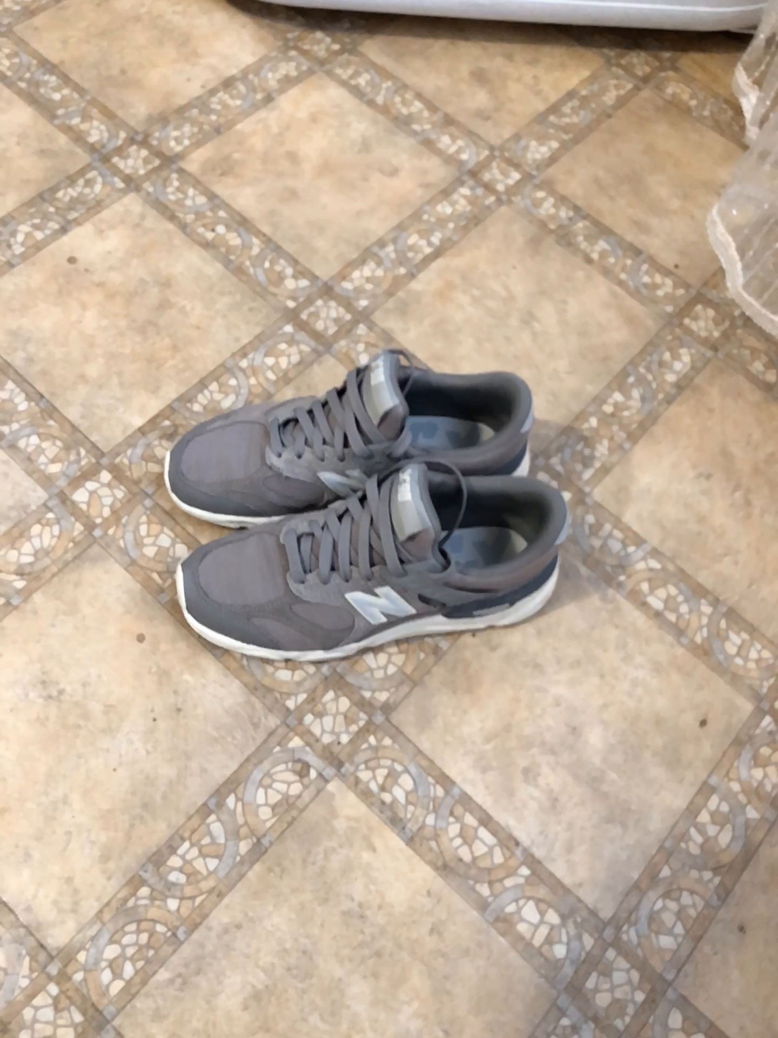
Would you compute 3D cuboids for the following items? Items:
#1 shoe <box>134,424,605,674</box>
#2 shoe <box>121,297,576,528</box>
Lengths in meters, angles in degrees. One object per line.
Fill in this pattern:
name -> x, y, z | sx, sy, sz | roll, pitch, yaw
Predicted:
shoe -> -0.017, 0.022, 0.565 | 0.270, 0.119, 0.100 | -5, 65, -8
shoe -> -0.030, -0.070, 0.584 | 0.270, 0.119, 0.100 | -3, 65, -7
